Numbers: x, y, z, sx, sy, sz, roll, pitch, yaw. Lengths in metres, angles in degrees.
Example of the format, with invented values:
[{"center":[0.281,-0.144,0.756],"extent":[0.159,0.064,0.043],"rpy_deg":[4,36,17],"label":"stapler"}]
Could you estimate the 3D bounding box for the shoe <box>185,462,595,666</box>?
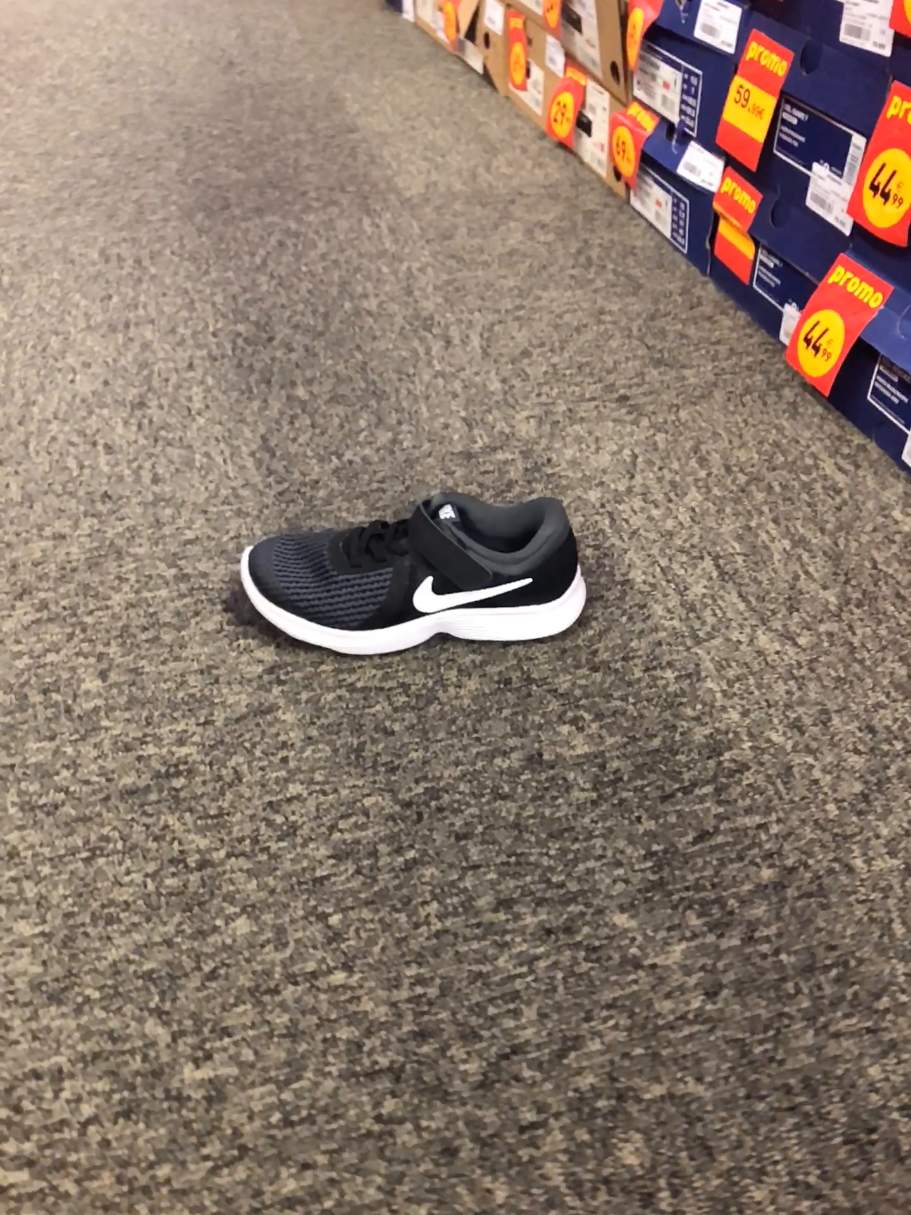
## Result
[{"center":[-0.034,-0.026,0.590],"extent":[0.217,0.080,0.091],"rpy_deg":[0,43,1],"label":"shoe"}]
